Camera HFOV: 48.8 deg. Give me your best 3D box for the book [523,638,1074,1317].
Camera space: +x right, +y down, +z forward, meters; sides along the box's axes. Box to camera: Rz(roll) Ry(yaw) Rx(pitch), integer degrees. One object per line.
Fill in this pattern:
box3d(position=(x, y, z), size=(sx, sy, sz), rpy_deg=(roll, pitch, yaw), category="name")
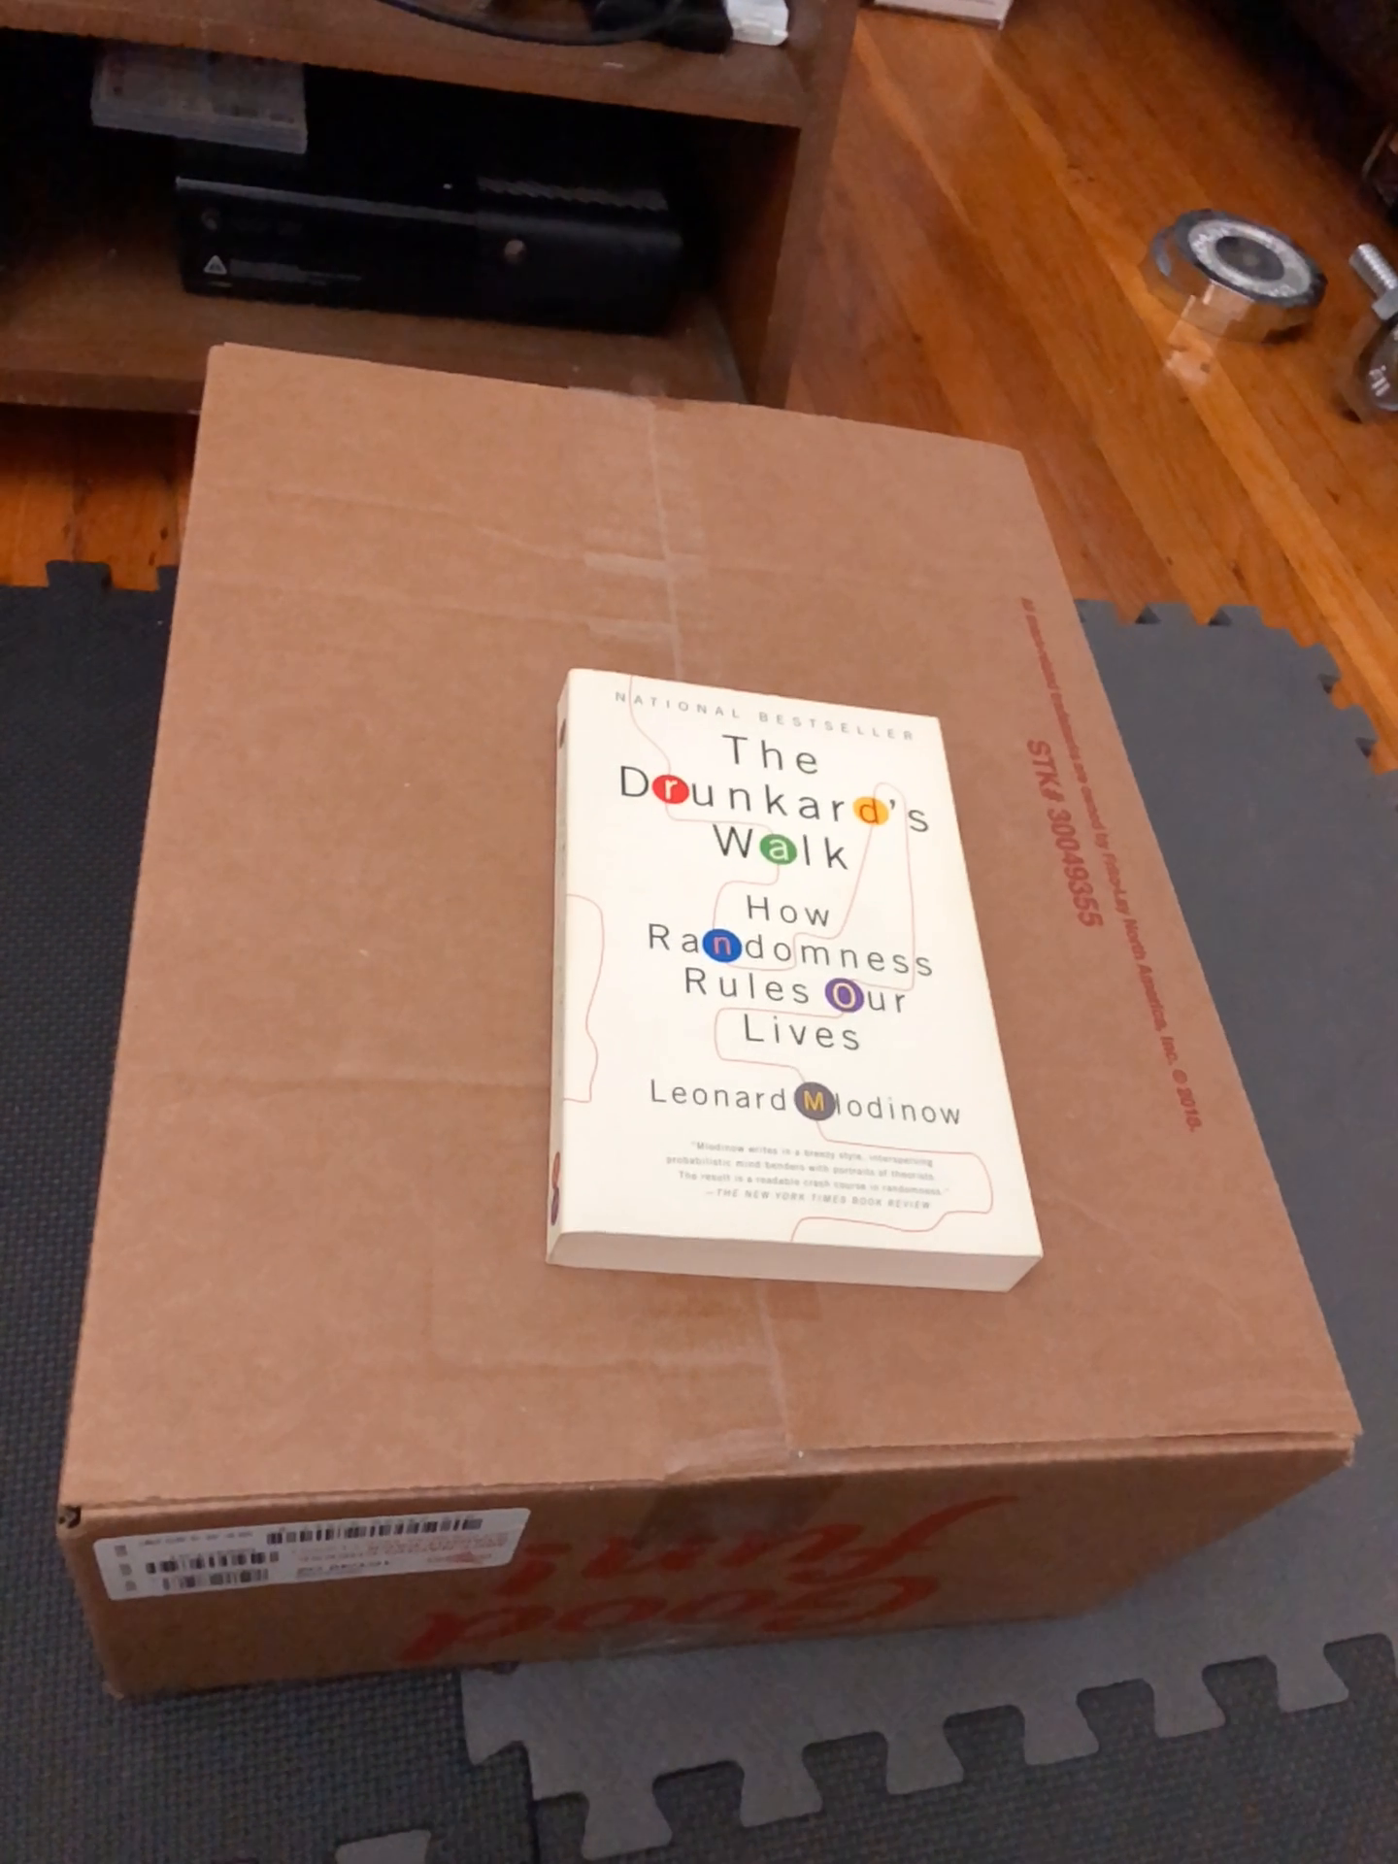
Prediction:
box3d(position=(0.020, 0.007, 0.468), size=(0.140, 0.040, 0.211), rpy_deg=(5, 53, -12), category="book")
